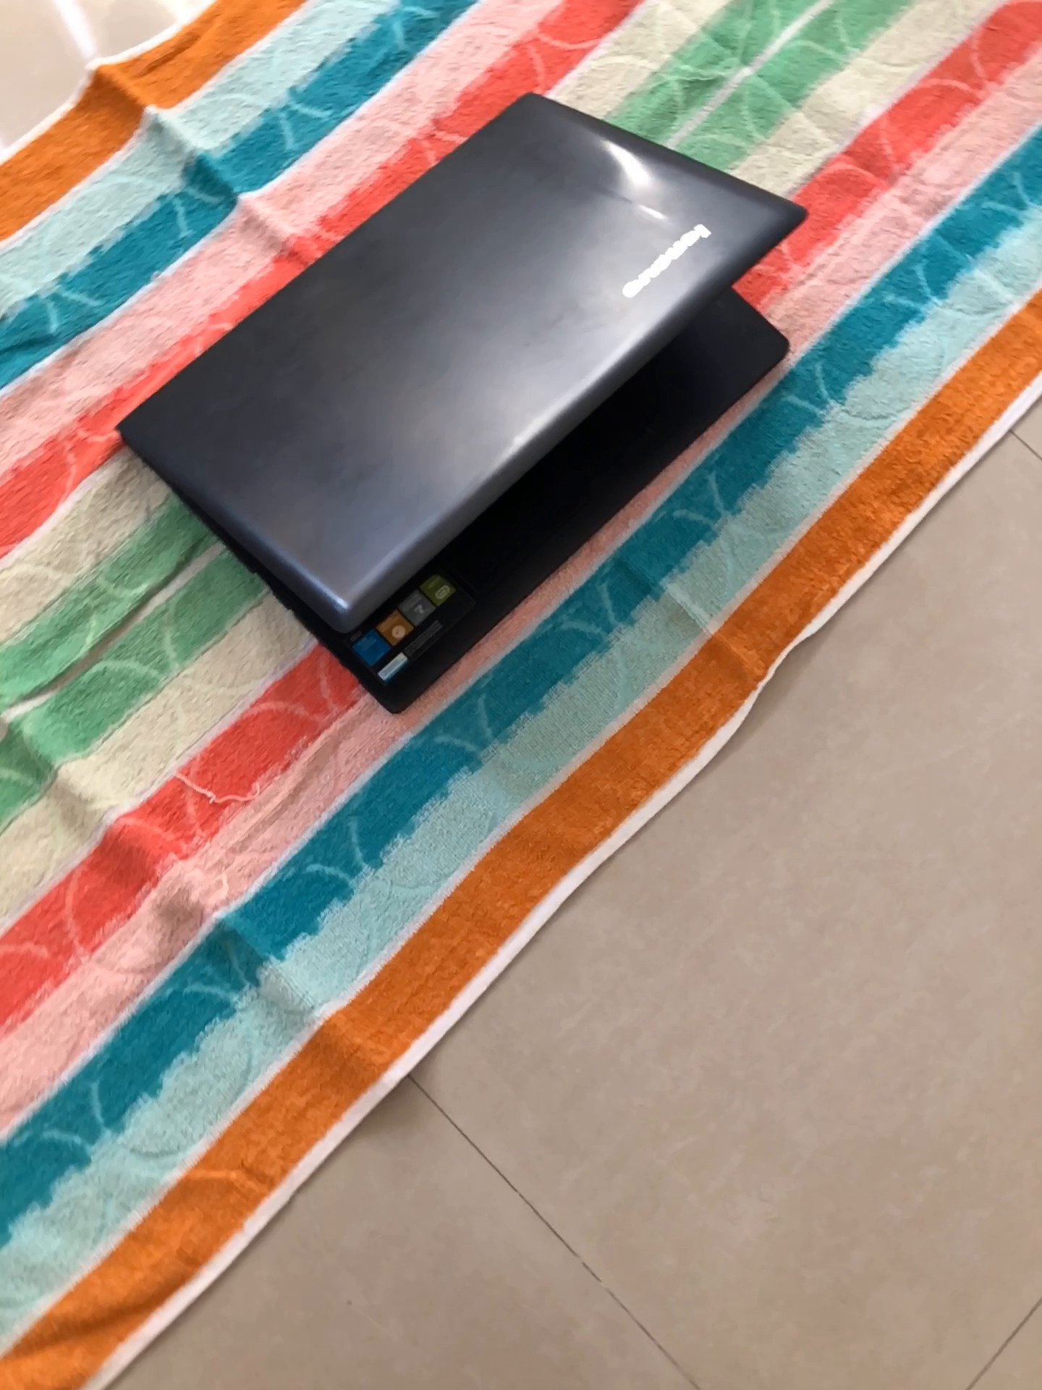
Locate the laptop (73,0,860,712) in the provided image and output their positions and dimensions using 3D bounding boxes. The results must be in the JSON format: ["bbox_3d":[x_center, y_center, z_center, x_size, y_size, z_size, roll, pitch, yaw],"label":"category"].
[{"bbox_3d":[-0.029,-0.212,0.703,0.364,0.126,0.253,-43,80,-11],"label":"laptop"}]
